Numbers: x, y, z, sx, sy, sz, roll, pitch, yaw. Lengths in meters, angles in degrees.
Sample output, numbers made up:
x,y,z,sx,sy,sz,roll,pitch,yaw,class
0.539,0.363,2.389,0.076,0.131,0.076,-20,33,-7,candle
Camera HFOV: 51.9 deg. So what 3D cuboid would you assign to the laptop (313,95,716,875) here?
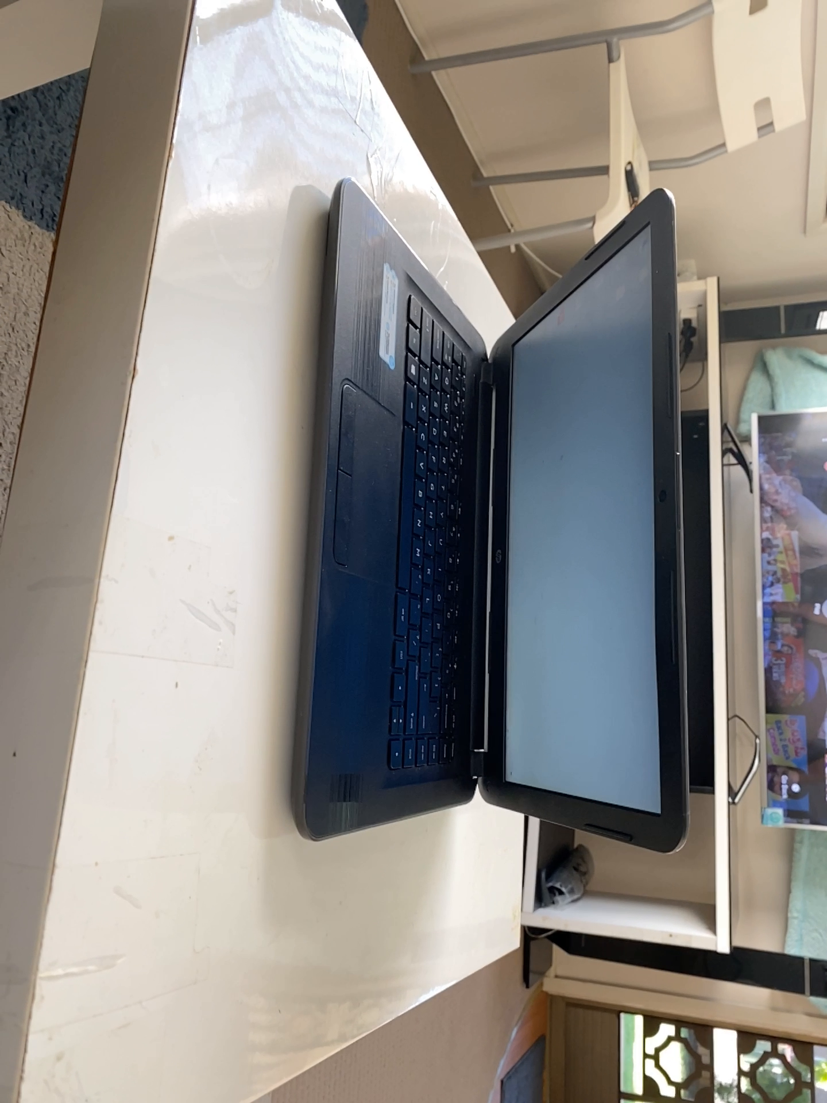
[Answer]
x,y,z,sx,sy,sz,roll,pitch,yaw,class
0.075,-0.022,0.484,0.226,0.154,0.335,25,65,-65,laptop
